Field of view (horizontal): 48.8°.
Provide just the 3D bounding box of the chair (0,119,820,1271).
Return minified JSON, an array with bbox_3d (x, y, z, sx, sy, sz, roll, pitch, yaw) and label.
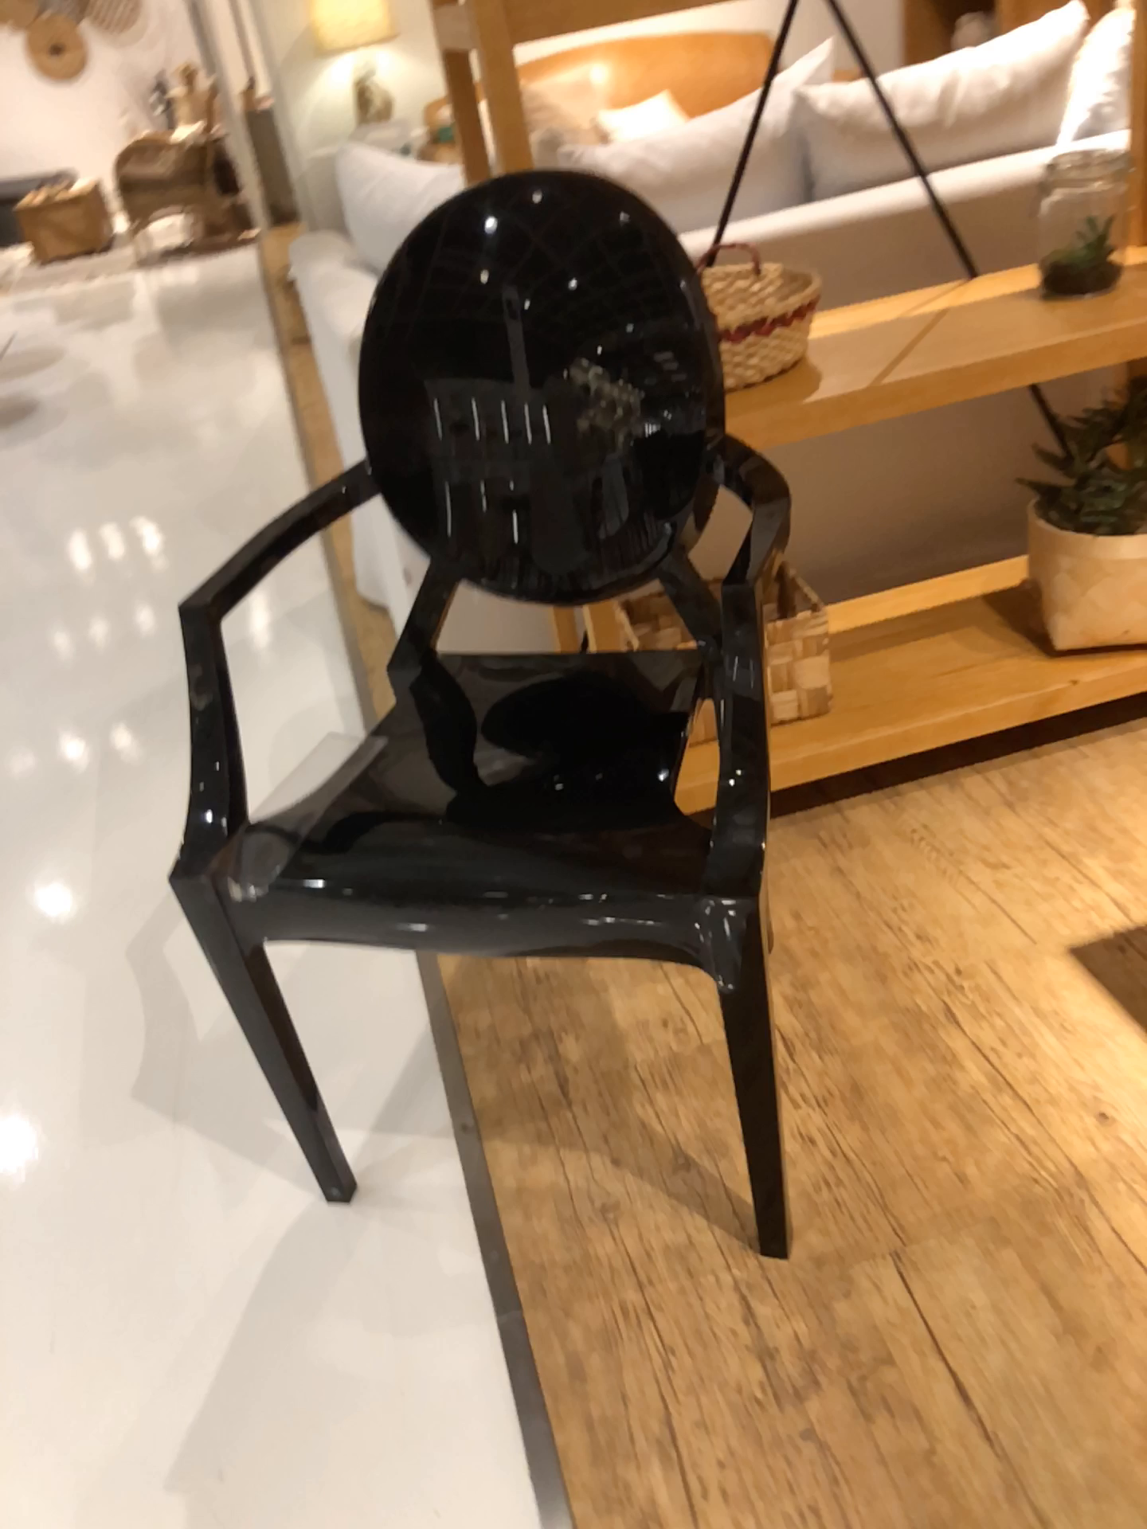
[{"bbox_3d":[-0.061,-0.058,1.249,0.540,0.903,0.595,-2,32,13],"label":"chair"}]
